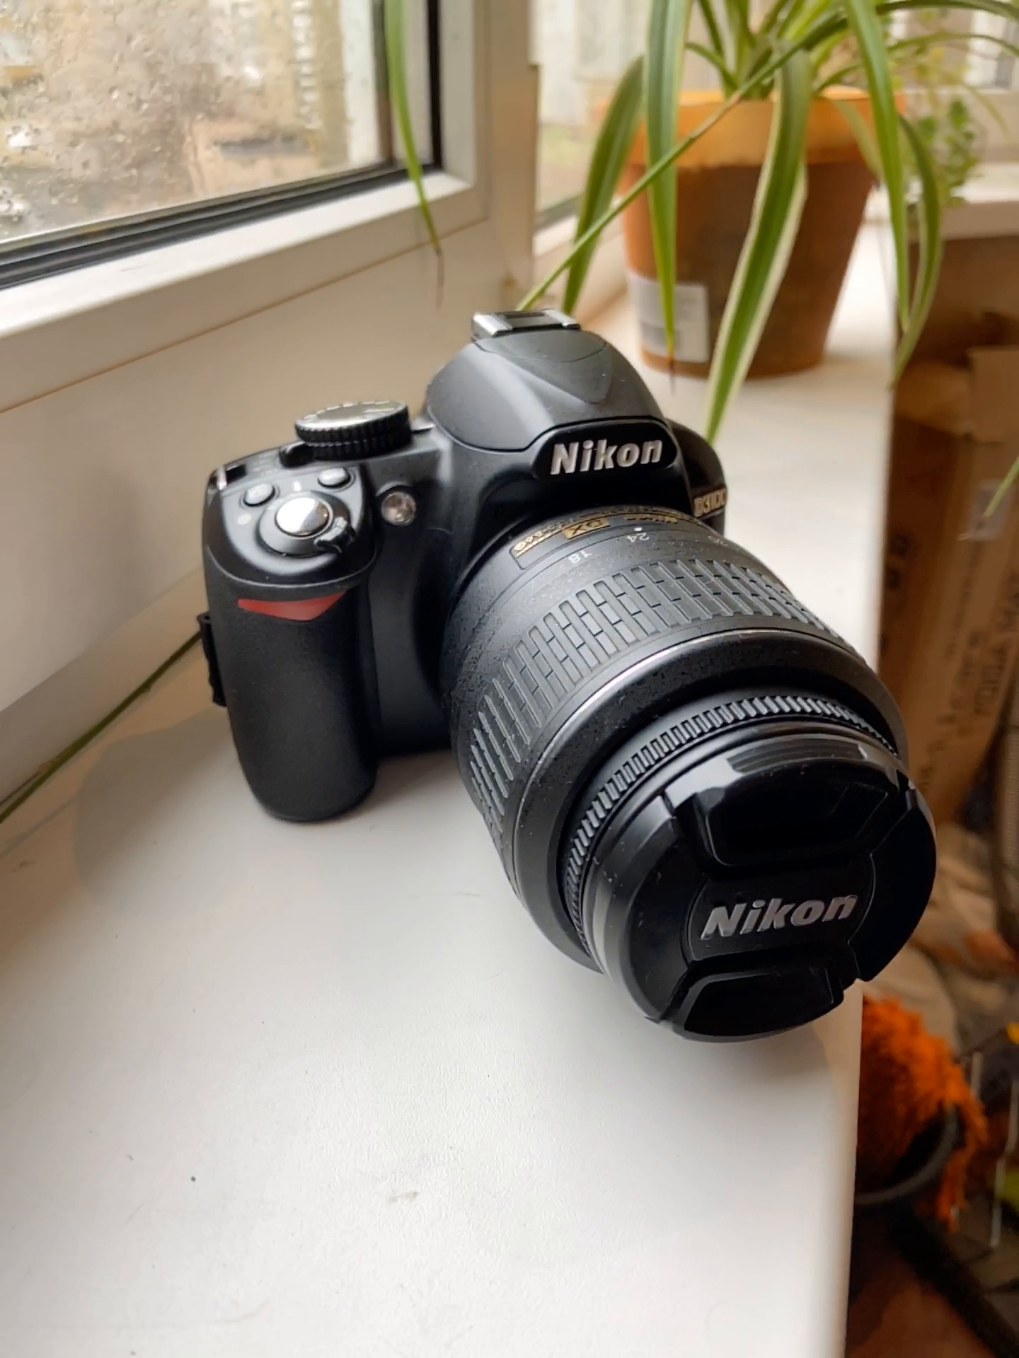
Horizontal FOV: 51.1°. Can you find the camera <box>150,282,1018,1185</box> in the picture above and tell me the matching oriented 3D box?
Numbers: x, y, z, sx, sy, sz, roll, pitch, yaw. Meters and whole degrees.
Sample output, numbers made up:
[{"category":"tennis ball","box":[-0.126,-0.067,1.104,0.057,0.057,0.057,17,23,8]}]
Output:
[{"category":"camera","box":[0.002,-0.013,0.210,0.124,0.091,0.155,-9,31,-14]}]
